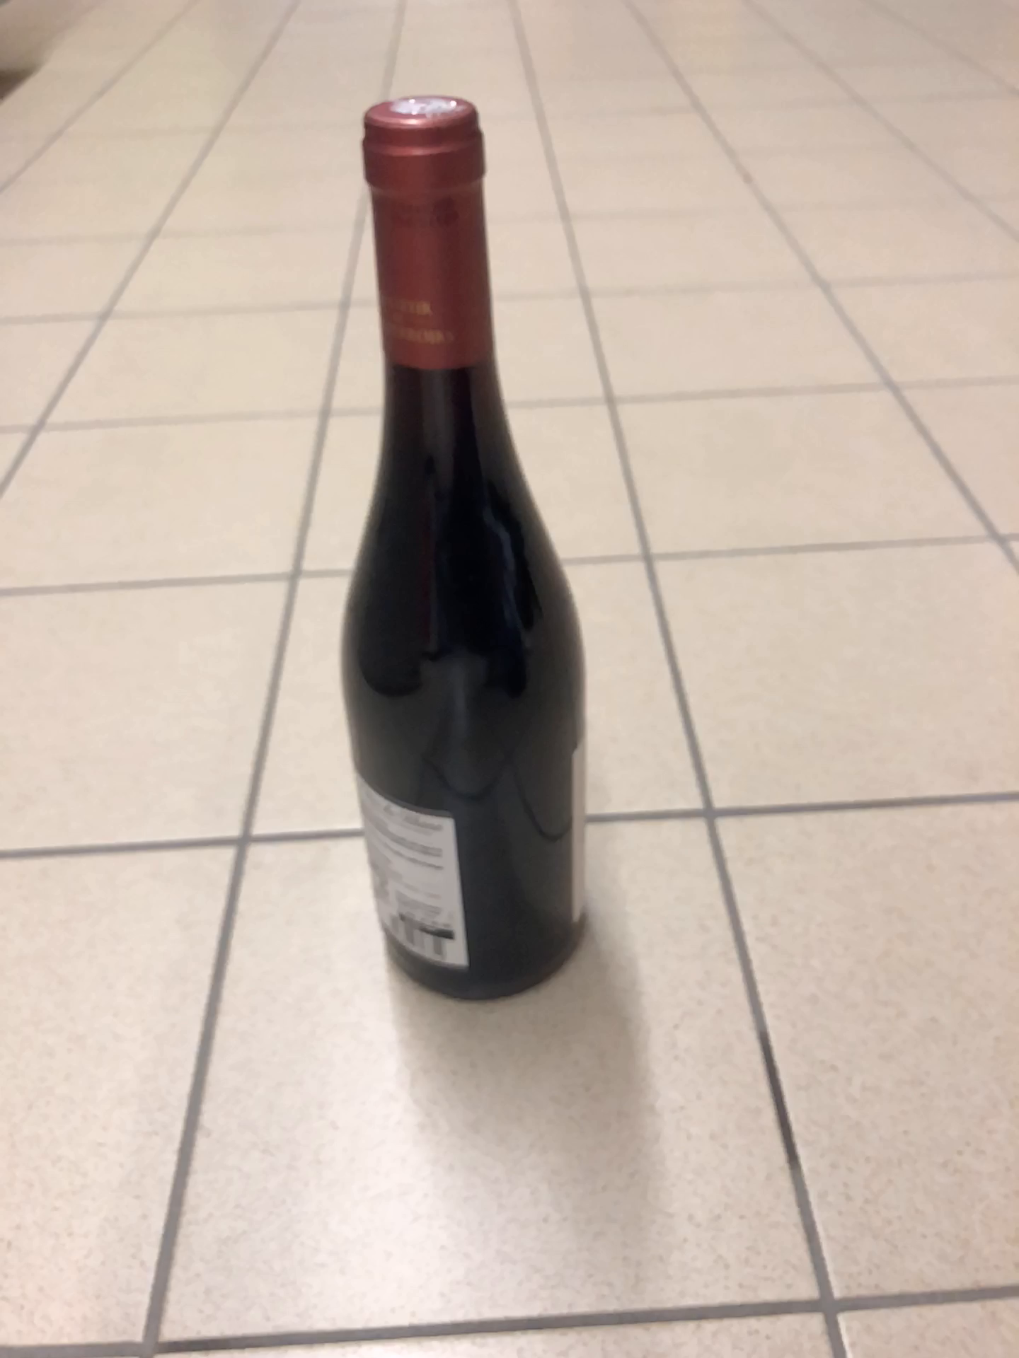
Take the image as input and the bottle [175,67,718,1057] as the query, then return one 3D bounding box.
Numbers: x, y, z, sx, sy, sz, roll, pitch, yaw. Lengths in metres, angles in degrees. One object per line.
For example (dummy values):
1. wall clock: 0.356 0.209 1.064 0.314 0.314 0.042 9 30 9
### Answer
1. bottle: -0.012 -0.019 0.341 0.090 0.268 0.090 -2 39 1
